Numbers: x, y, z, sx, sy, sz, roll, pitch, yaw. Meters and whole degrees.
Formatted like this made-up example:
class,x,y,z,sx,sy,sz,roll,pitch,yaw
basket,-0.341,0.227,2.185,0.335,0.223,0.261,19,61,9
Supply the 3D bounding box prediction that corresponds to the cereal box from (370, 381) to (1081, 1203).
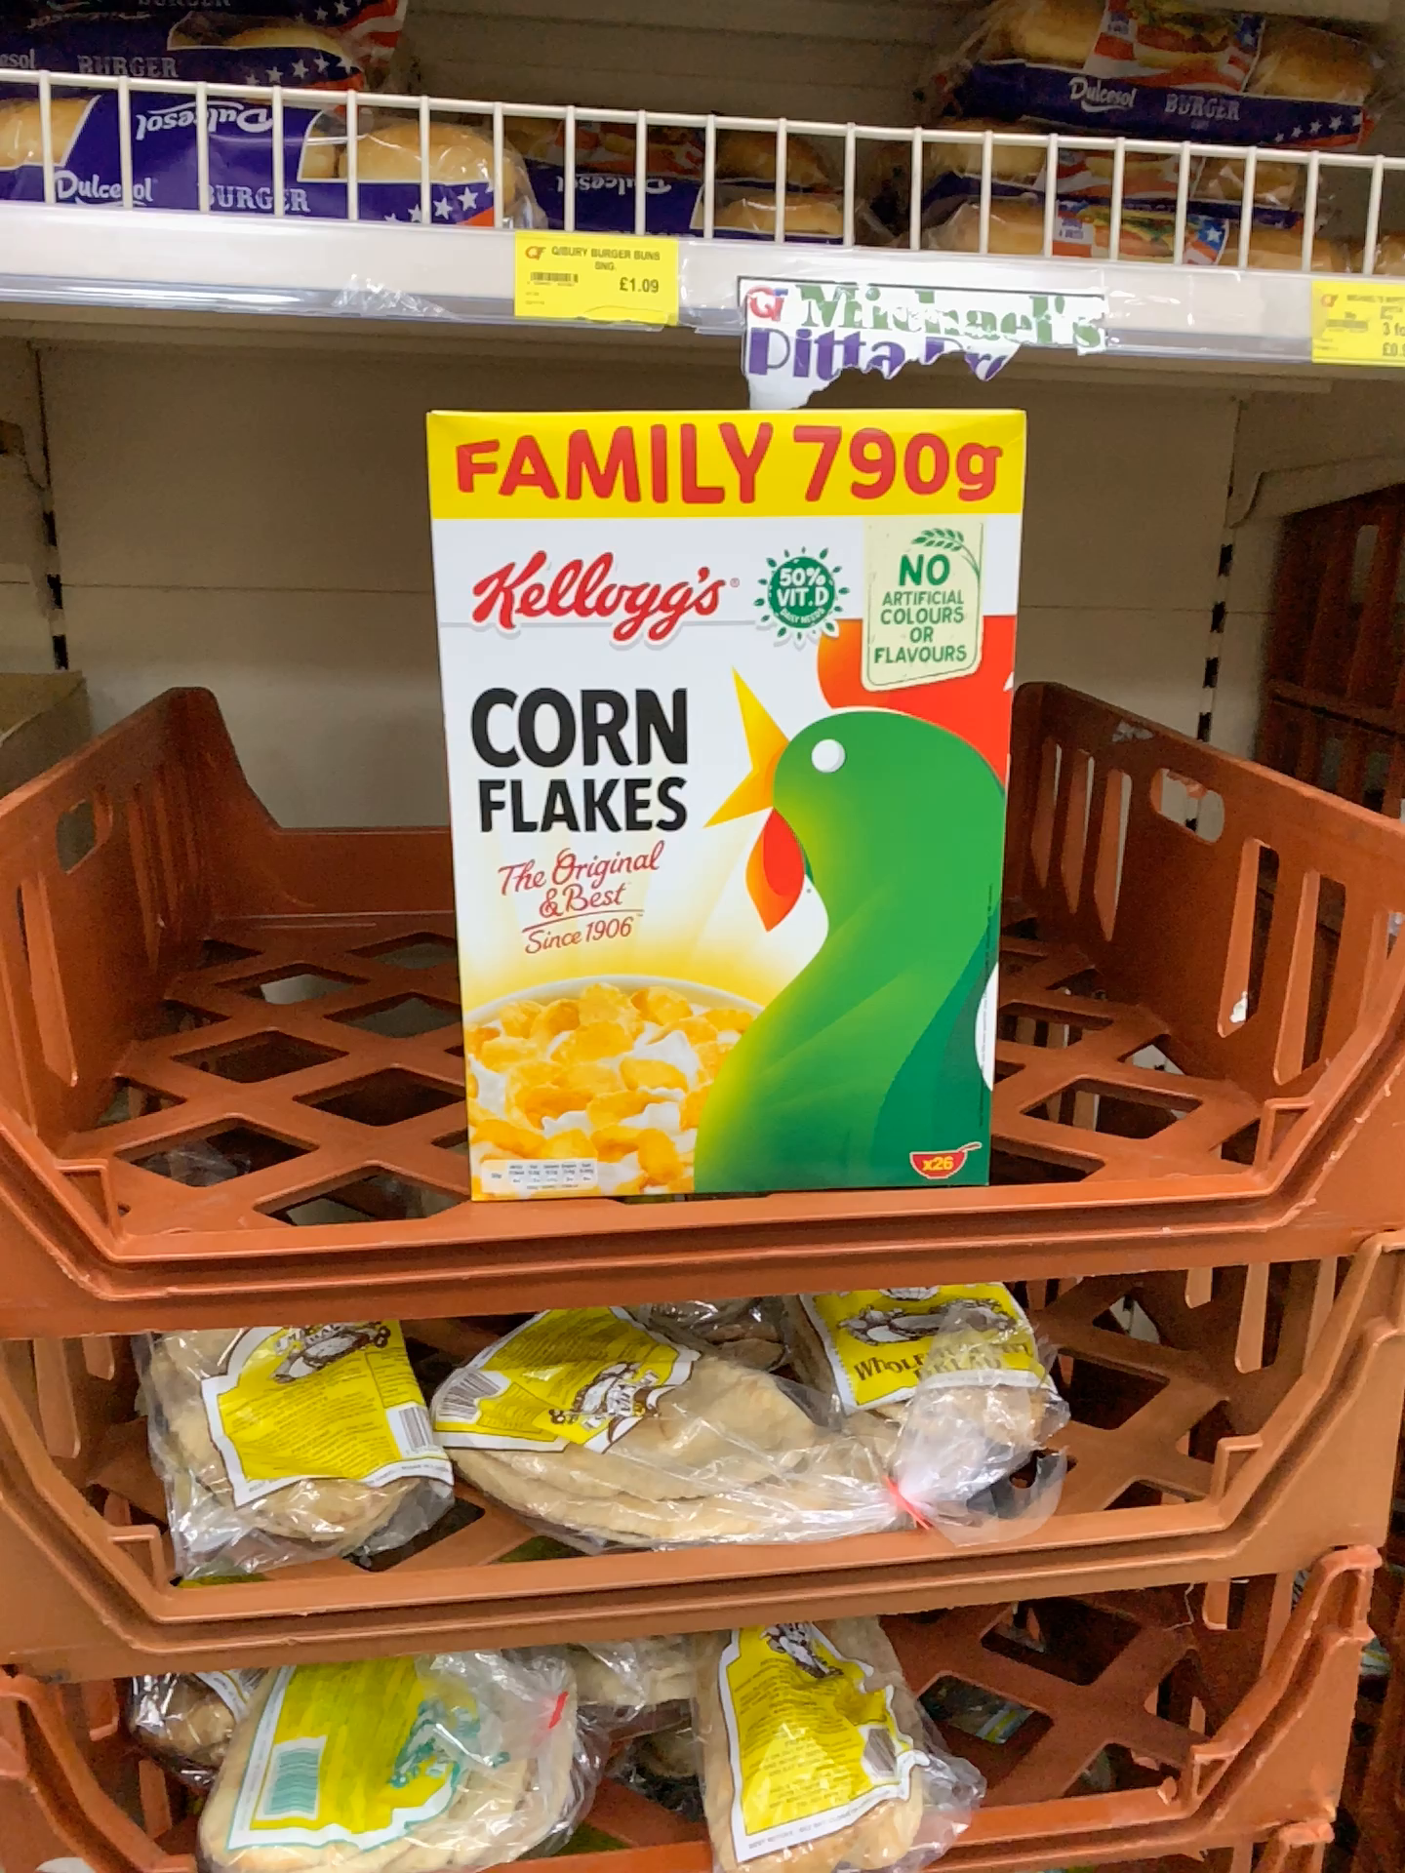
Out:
class,x,y,z,sx,sy,sz,roll,pitch,yaw
cereal box,0.006,-0.060,0.636,0.270,0.338,0.091,-1,17,-5
